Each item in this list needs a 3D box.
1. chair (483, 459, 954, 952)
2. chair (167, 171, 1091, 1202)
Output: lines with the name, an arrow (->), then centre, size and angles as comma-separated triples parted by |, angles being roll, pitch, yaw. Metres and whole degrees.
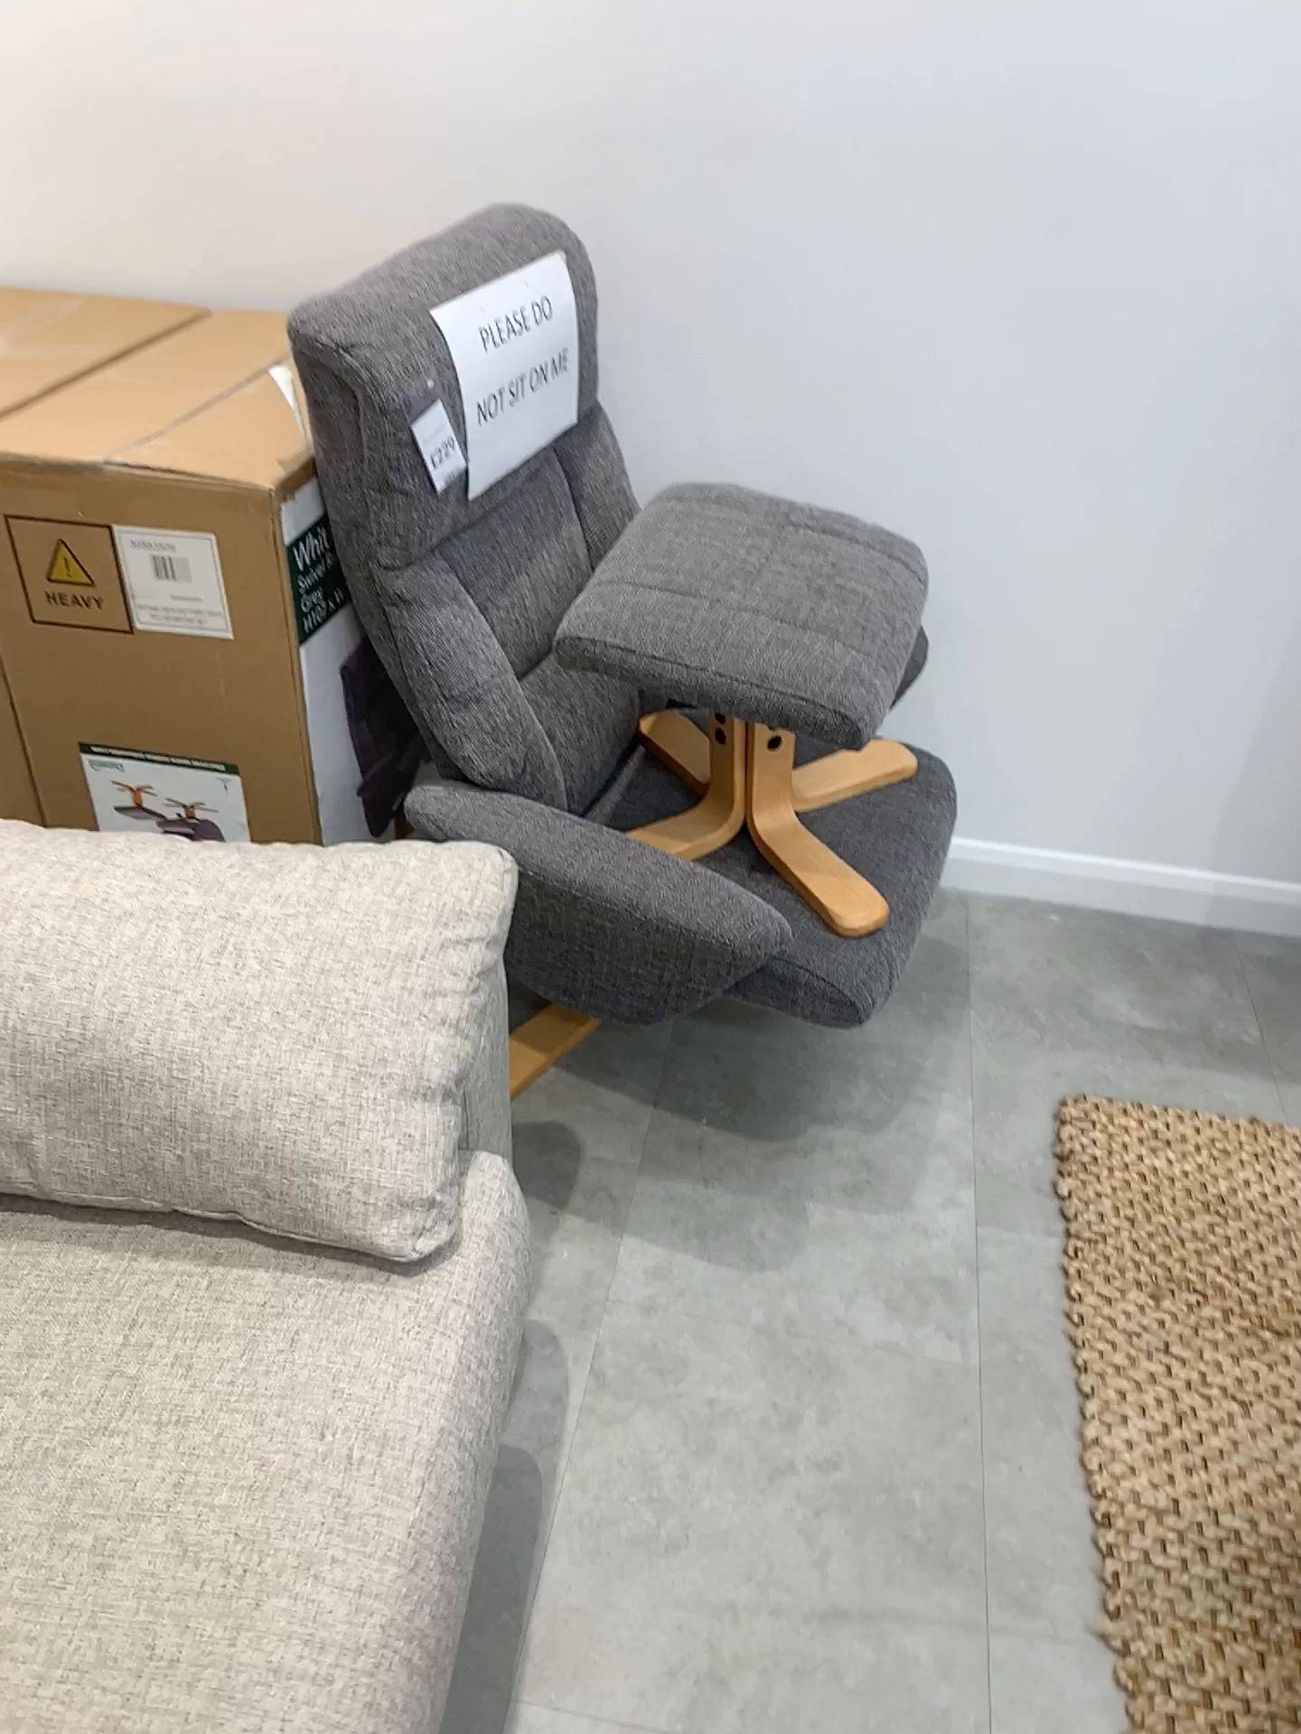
chair -> 0.100, -0.227, 1.641 | 0.446, 0.352, 0.501 | 11, 36, 12
chair -> 0.052, -0.297, 1.690 | 0.786, 0.896, 0.874 | 11, 36, 12
